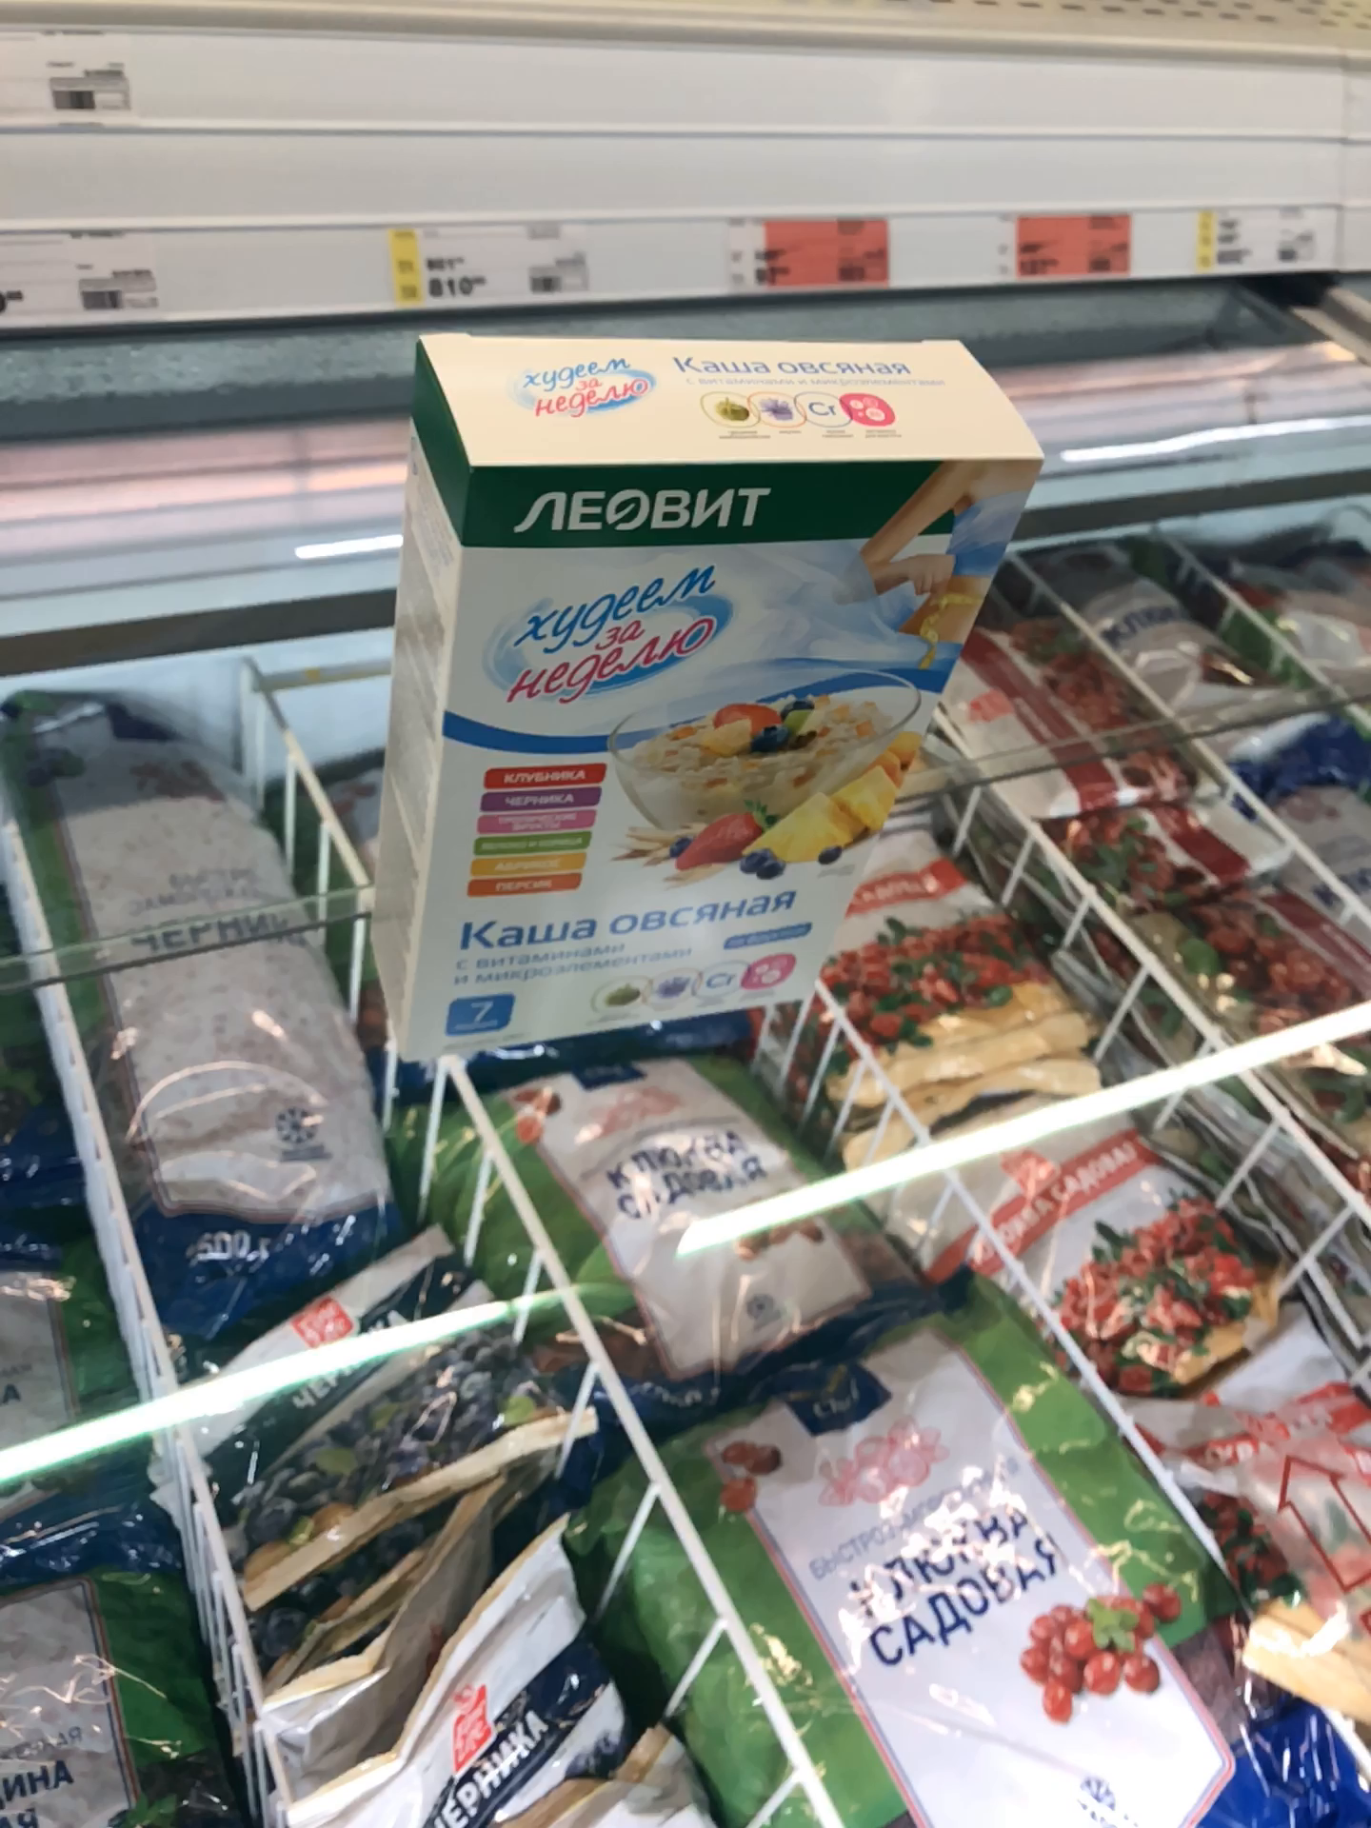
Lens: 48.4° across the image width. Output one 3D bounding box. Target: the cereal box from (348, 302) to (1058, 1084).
[{"bbox_3d":[-0.013,-0.052,0.440,0.150,0.228,0.060,-8,52,-21],"label":"cereal box"}]
